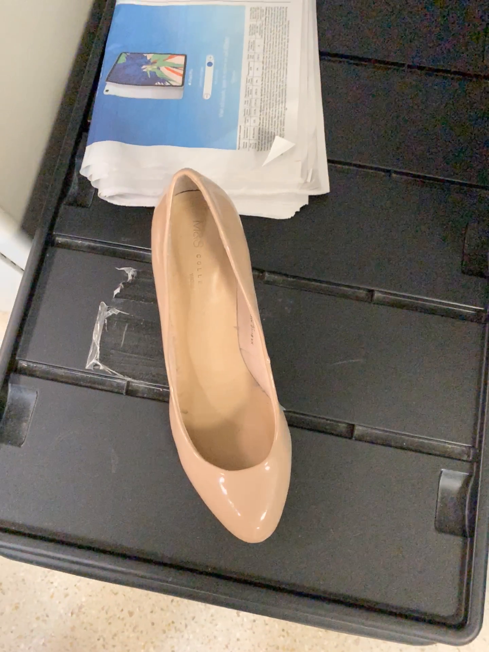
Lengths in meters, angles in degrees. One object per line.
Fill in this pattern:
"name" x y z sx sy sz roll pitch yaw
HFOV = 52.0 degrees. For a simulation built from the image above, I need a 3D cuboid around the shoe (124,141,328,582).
"shoe" -0.015 0.023 0.345 0.096 0.141 0.240 -5 76 0
